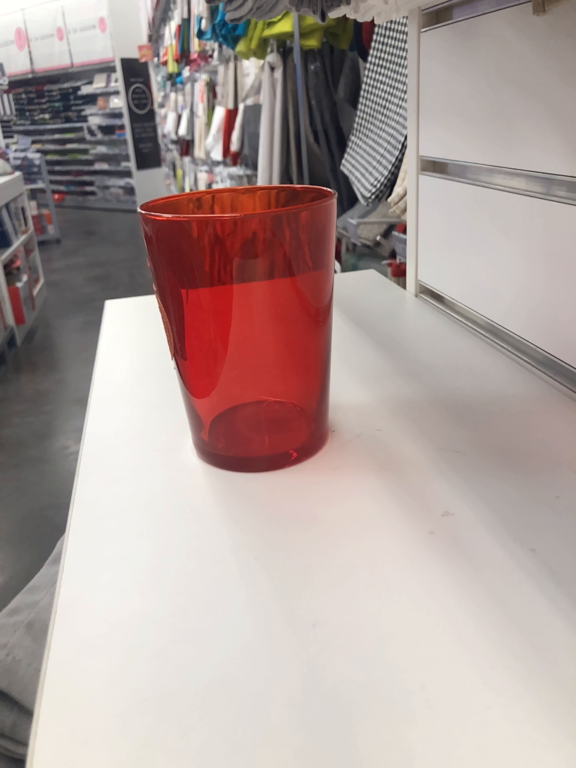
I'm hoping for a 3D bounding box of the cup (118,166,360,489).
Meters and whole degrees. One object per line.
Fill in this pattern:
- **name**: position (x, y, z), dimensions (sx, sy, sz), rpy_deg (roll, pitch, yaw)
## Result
- **cup**: position (-0.024, -0.034, 0.305), dimensions (0.091, 0.121, 0.092), rpy_deg (-3, 24, 1)
